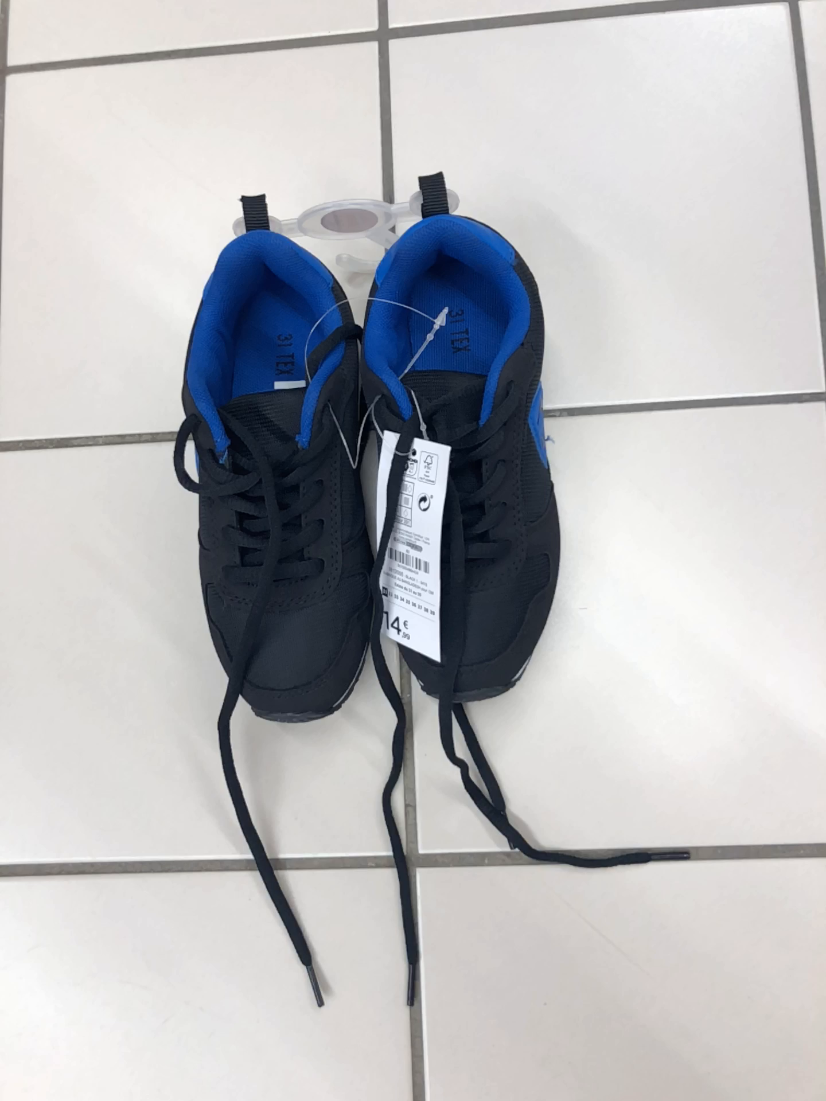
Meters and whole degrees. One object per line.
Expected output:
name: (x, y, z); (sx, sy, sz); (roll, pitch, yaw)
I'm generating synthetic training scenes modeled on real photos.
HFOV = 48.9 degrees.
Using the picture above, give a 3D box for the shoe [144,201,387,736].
shoe: (-0.061, -0.030, 0.395); (0.075, 0.082, 0.207); (-5, 82, 4)

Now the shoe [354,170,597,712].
shoe: (0.025, -0.040, 0.390); (0.075, 0.082, 0.207); (-5, 82, 4)
